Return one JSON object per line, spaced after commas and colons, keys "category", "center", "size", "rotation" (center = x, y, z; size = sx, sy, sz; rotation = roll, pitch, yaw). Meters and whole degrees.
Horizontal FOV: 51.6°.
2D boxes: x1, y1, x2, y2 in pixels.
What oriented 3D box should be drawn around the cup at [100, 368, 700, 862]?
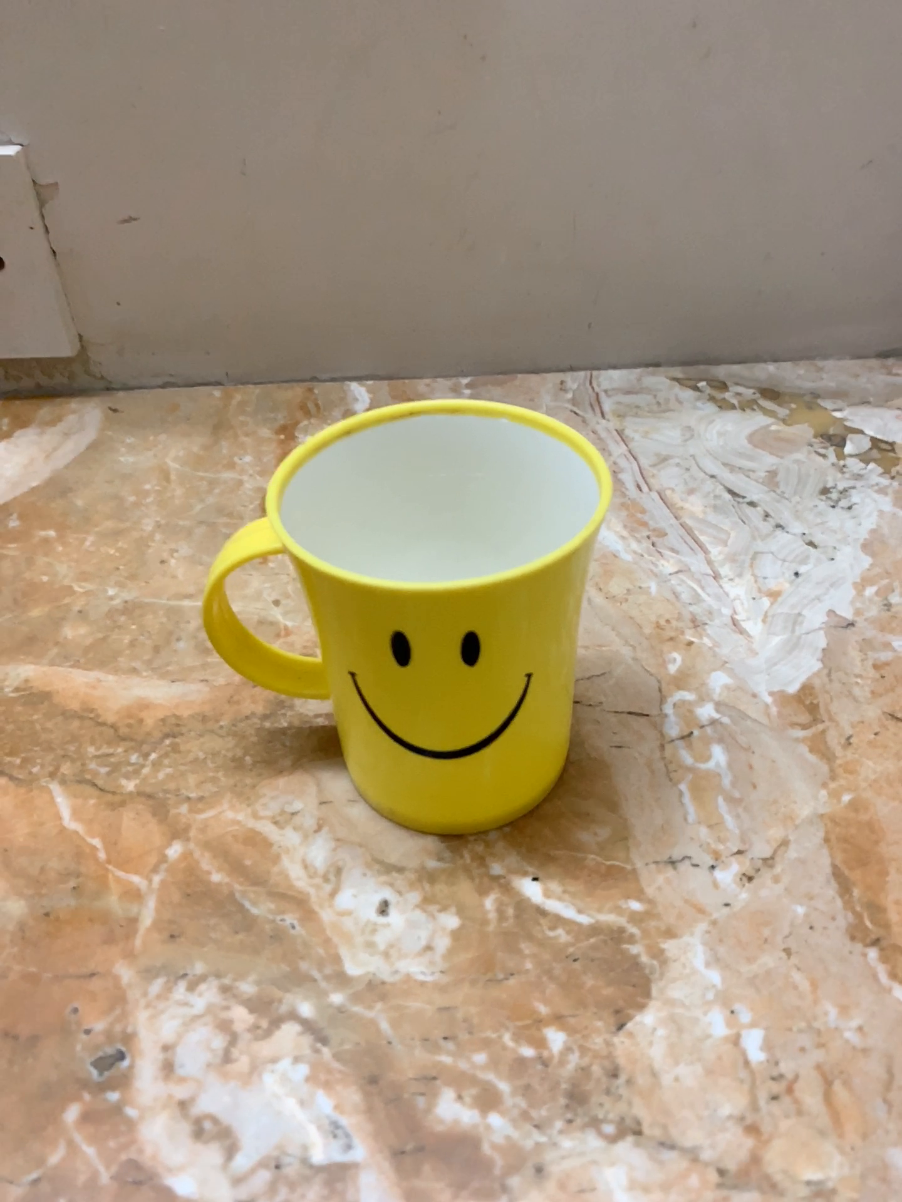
{"category": "cup", "center": [-0.009, 0.004, 0.227], "size": [0.110, 0.089, 0.071], "rotation": [-3, 40, 0]}
